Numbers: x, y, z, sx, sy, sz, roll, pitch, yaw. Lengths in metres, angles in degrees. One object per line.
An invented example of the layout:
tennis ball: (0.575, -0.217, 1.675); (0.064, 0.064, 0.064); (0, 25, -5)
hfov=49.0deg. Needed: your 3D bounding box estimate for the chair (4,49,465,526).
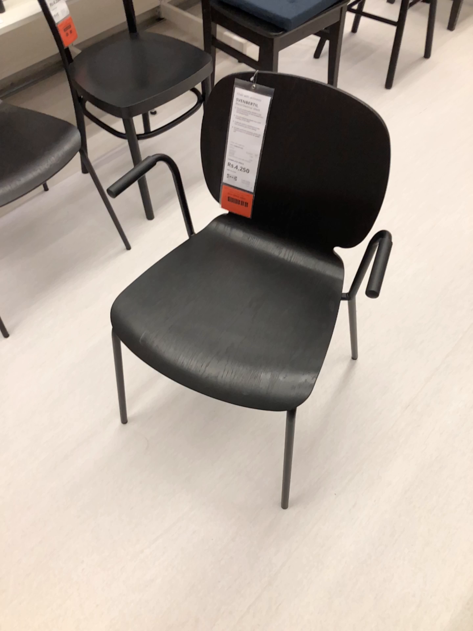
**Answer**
chair: (0.031, -0.039, 1.121); (0.531, 0.686, 0.582); (25, 58, 18)
